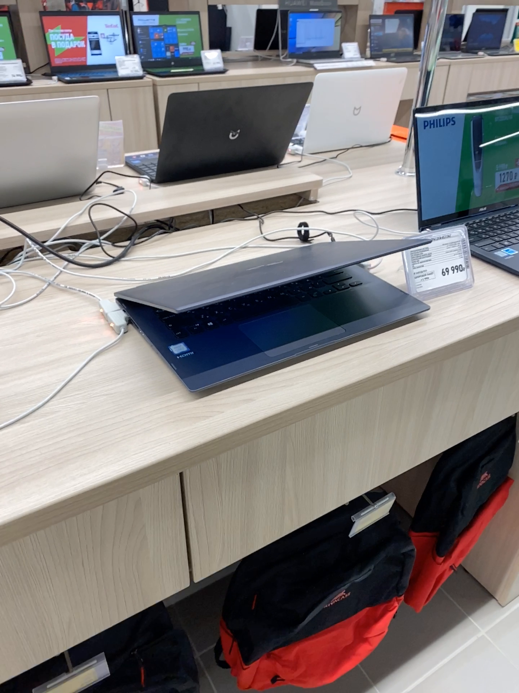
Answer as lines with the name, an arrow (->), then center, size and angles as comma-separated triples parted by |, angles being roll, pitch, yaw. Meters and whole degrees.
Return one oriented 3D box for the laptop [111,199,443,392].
laptop -> 0.019, -0.088, 0.652 | 0.330, 0.079, 0.226 | -18, 37, -27
